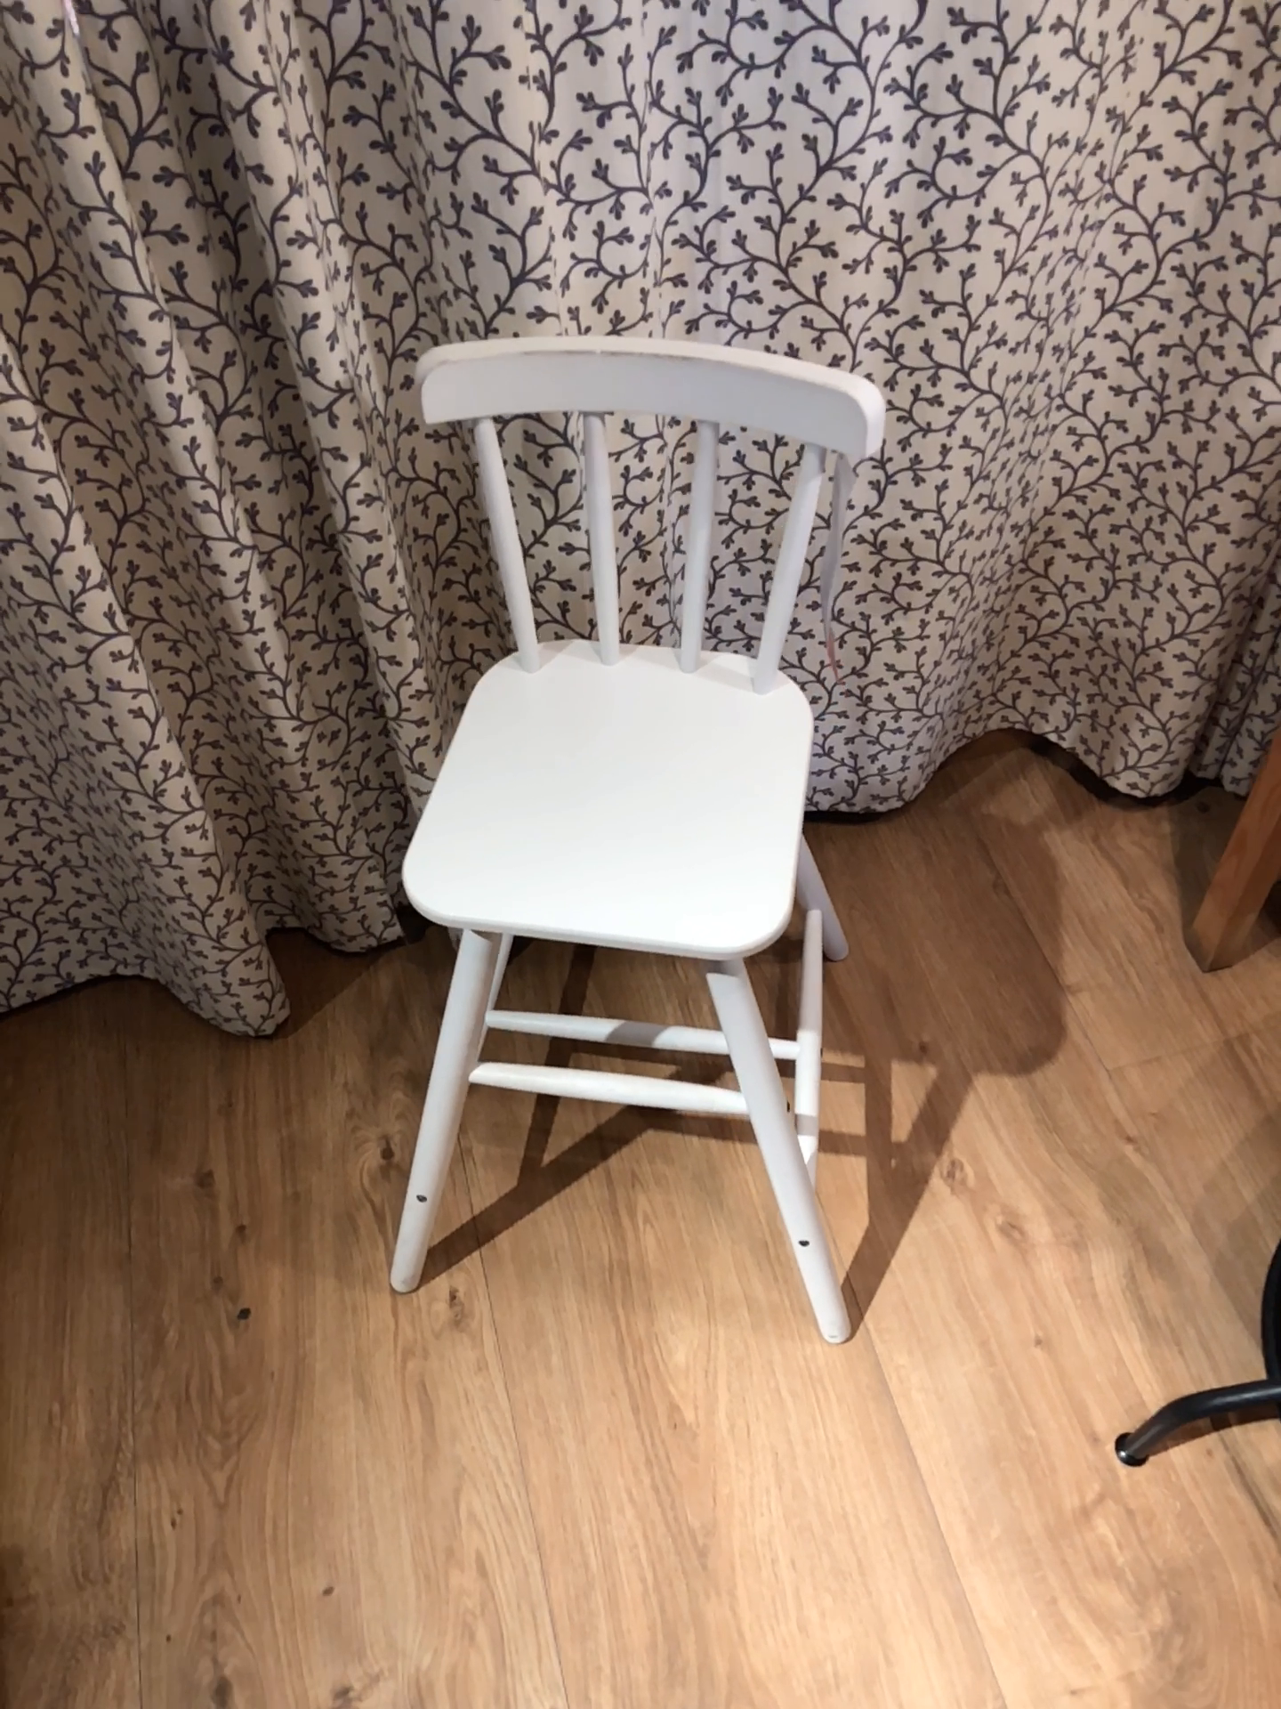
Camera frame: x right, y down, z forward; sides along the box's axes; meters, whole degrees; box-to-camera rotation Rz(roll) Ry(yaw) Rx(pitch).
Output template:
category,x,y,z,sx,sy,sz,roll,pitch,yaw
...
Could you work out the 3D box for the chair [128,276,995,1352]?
category,x,y,z,sx,sy,sz,roll,pitch,yaw
chair,-0.001,0.009,1.082,0.420,0.706,0.452,4,51,7
